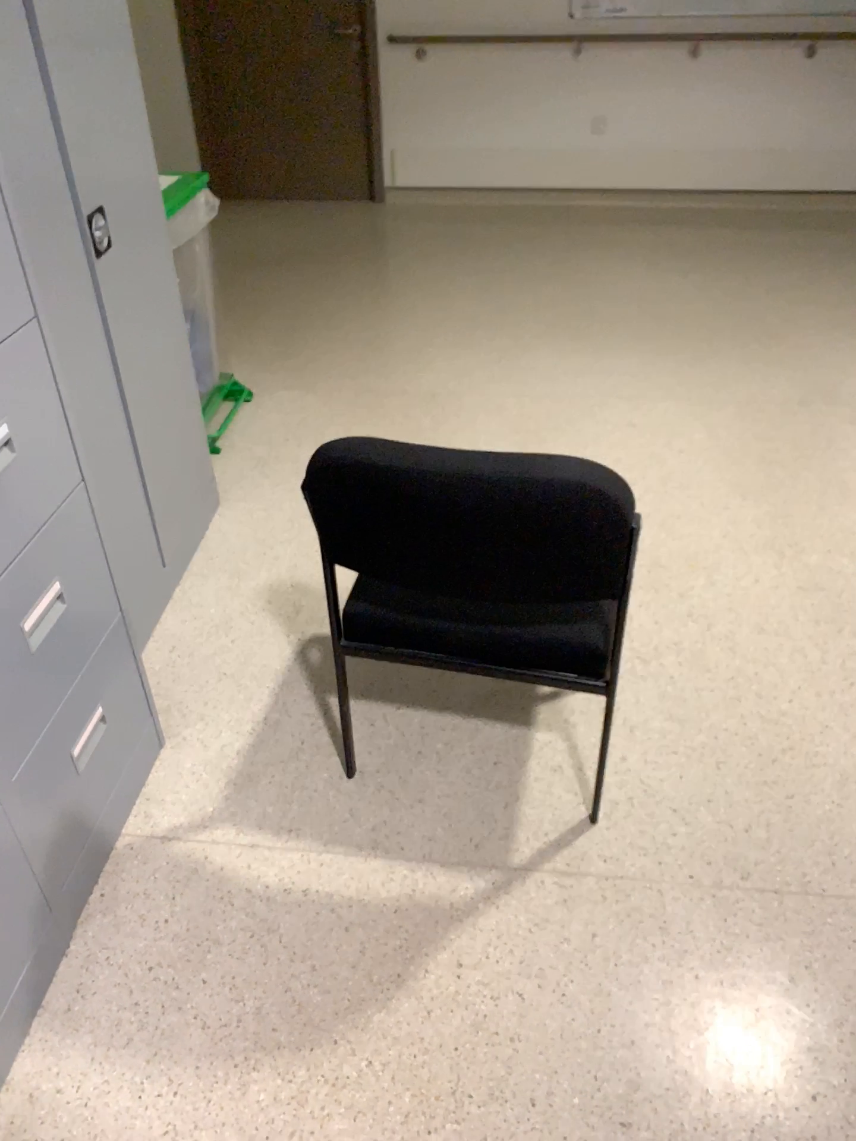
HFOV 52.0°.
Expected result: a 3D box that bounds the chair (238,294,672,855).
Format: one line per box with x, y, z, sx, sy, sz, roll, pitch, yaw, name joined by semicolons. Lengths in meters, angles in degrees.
0.096;-0.002;1.737;0.630;0.851;0.596;7;38;11;chair
